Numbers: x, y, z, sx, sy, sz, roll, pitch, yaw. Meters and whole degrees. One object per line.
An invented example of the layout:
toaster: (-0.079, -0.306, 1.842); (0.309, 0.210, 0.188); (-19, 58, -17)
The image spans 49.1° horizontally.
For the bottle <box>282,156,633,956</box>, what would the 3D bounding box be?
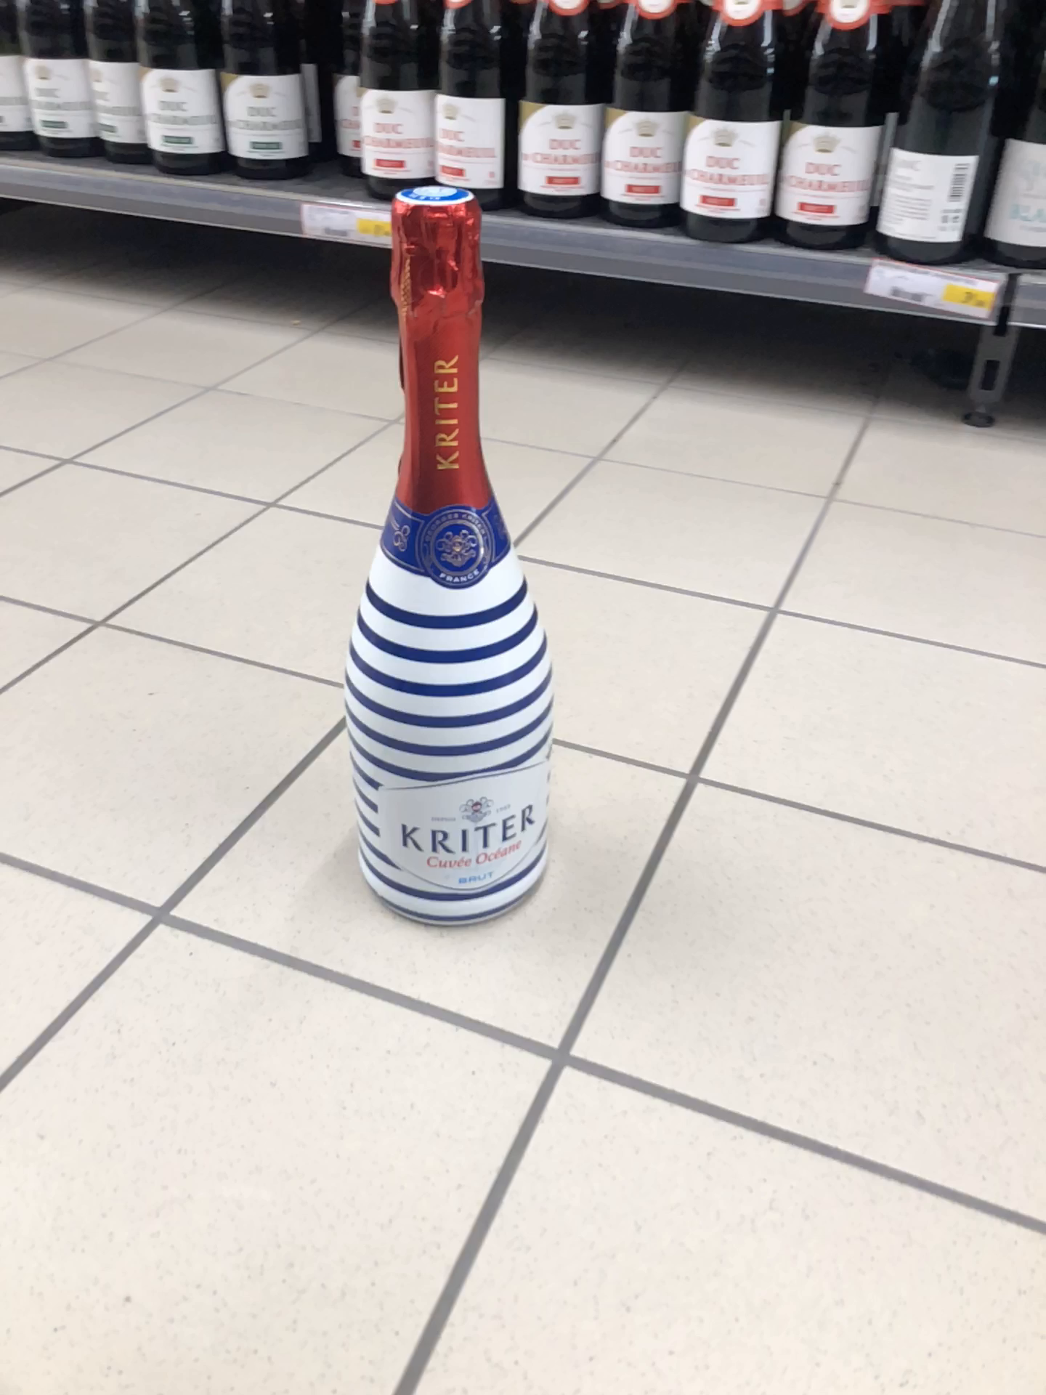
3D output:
bottle: (-0.029, -0.047, 0.473); (0.100, 0.308, 0.090); (-9, 34, -16)
